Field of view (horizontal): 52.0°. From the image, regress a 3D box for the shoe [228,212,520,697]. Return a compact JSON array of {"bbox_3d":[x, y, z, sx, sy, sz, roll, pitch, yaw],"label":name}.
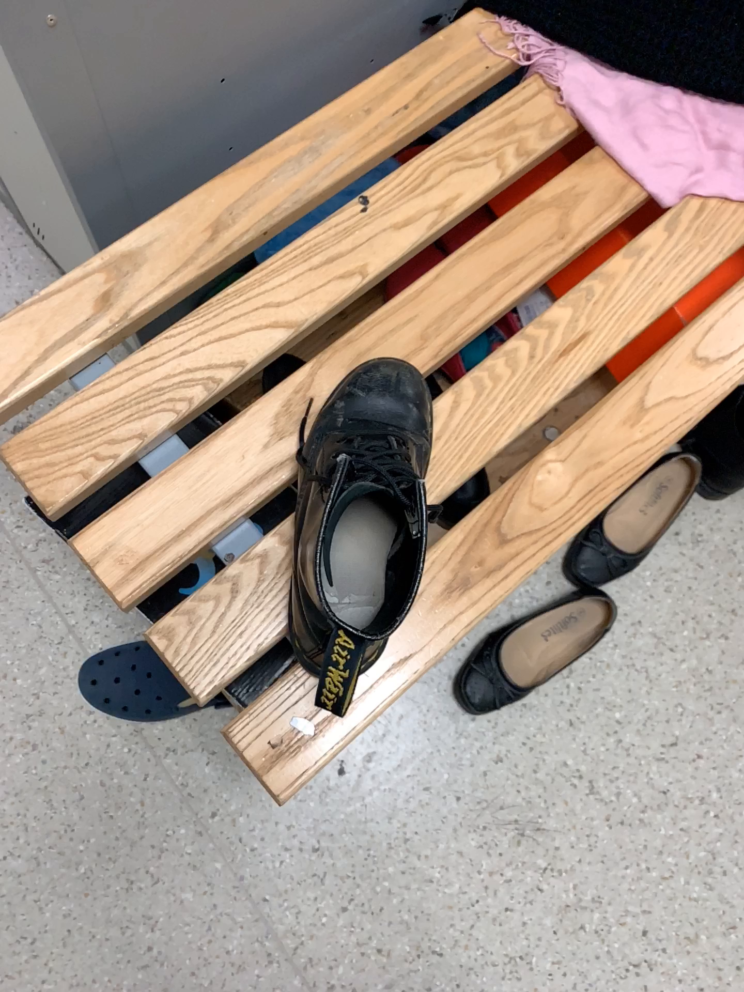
[{"bbox_3d":[0.000,-0.009,0.516,0.106,0.200,0.261,14,73,-1],"label":"shoe"}]
